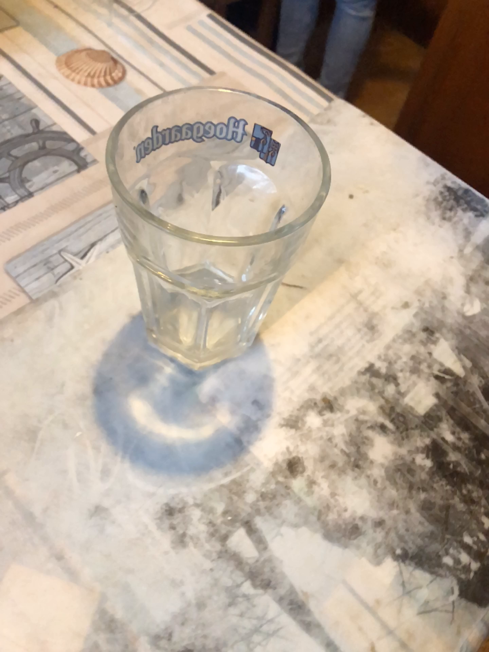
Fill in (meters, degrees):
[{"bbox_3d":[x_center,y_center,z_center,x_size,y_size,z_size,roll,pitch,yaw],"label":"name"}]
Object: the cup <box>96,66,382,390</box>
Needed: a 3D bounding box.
[{"bbox_3d":[-0.015,-0.049,0.288,0.099,0.123,0.099,6,56,-8],"label":"cup"}]
